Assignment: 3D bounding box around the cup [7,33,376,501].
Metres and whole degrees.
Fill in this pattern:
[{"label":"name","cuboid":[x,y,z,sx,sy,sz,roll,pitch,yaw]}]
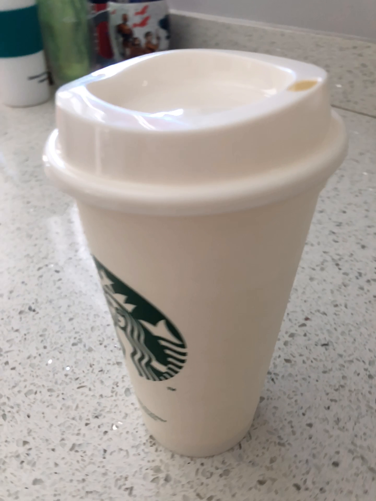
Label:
[{"label":"cup","cuboid":[0.009,0.006,0.160,0.090,0.139,0.090,-2,36,1]}]
